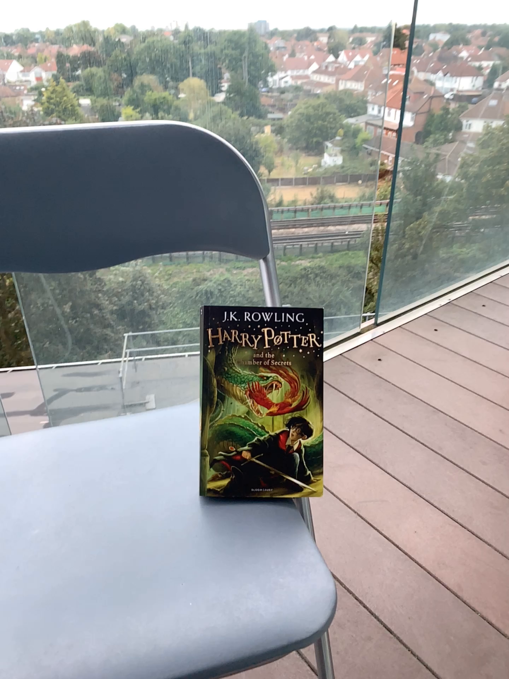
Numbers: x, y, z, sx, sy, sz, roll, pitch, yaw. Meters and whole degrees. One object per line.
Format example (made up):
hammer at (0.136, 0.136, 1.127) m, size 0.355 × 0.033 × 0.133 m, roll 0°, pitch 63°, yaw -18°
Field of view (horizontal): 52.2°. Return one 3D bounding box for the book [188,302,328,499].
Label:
book at (0.004, 0.063, 0.557) m, size 0.140 × 0.200 × 0.040 m, roll -1°, pitch 0°, yaw 0°
